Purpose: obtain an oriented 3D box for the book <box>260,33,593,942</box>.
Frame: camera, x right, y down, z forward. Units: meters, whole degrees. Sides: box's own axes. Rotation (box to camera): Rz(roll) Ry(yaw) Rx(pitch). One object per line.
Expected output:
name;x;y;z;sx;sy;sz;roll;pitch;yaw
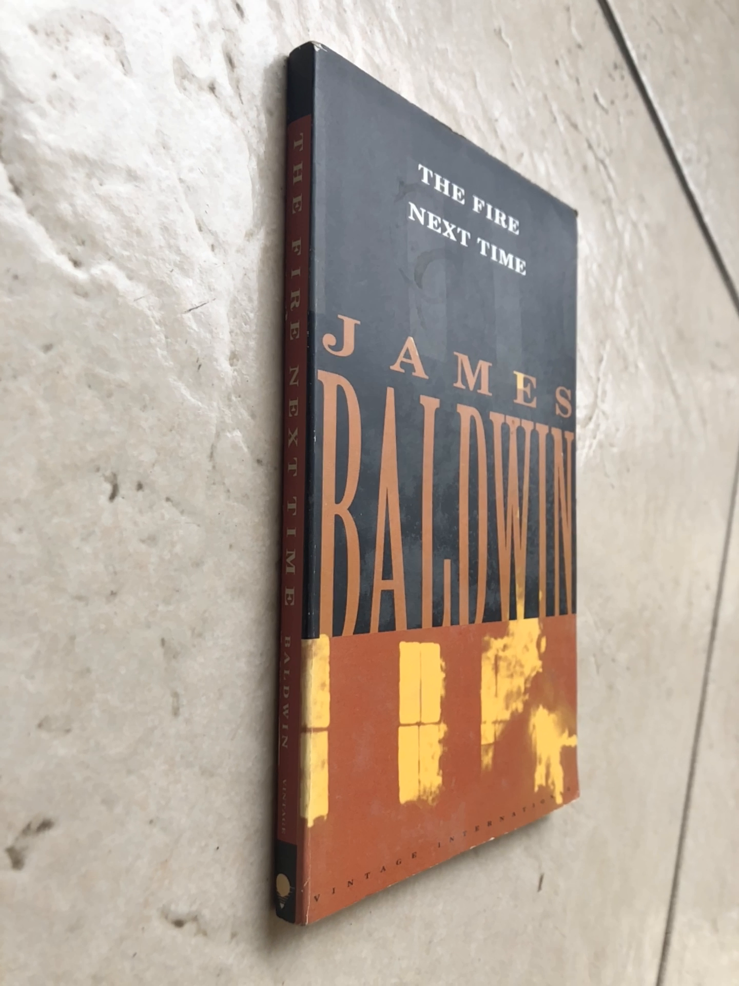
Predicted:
book;0.025;-0.001;0.236;0.131;0.016;0.200;5;83;-49
